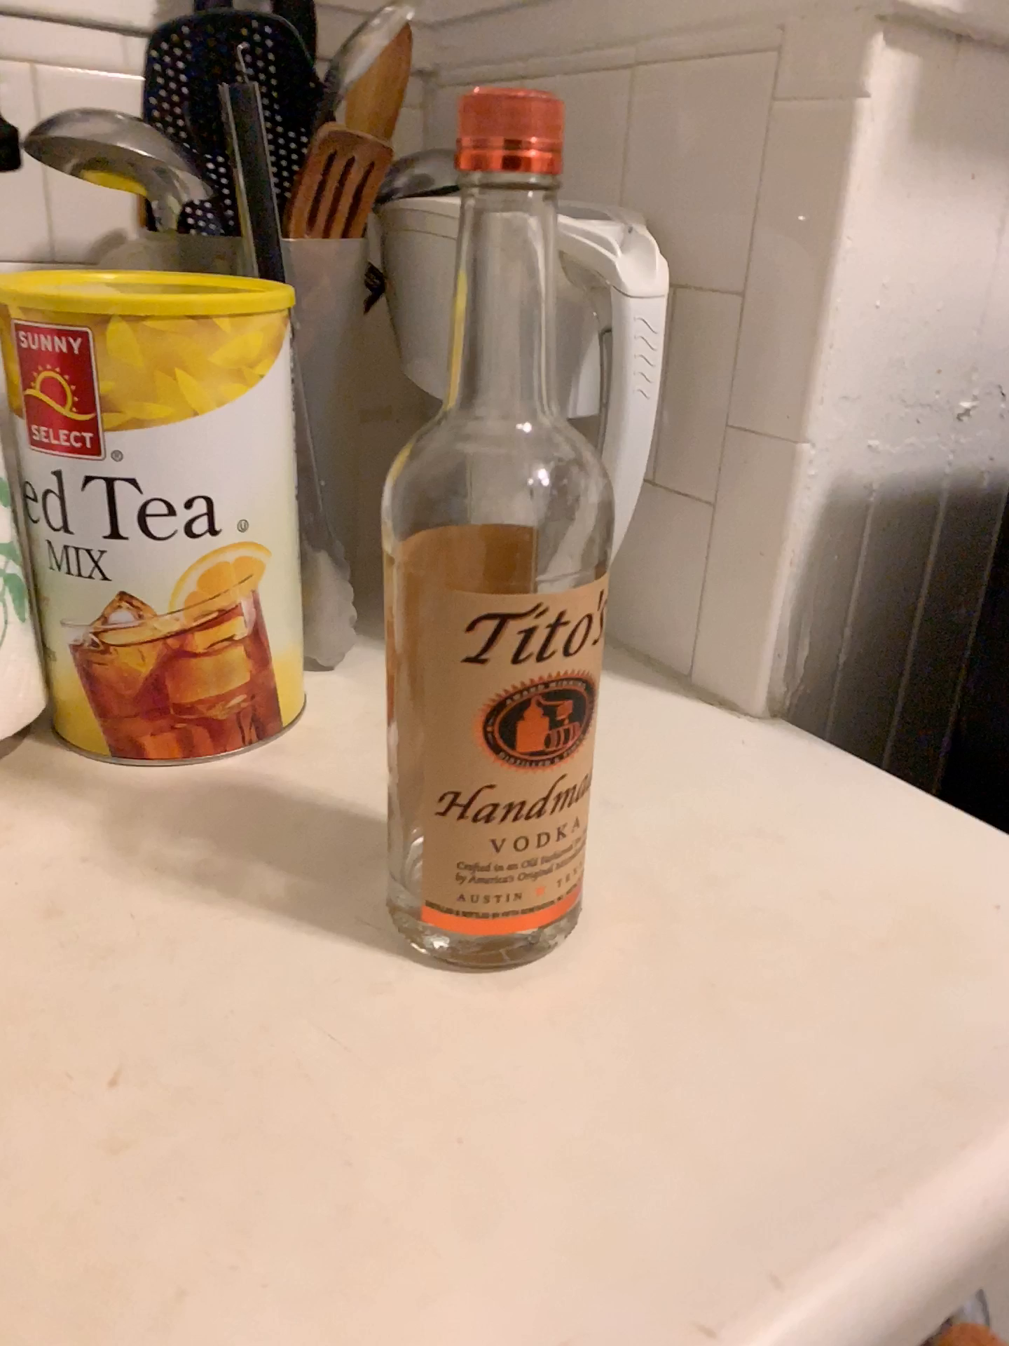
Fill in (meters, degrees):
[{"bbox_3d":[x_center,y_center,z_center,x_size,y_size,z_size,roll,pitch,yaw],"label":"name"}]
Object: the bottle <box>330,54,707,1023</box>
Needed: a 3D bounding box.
[{"bbox_3d":[-0.007,-0.033,0.348,0.080,0.288,0.080,3,23,-1],"label":"bottle"}]
